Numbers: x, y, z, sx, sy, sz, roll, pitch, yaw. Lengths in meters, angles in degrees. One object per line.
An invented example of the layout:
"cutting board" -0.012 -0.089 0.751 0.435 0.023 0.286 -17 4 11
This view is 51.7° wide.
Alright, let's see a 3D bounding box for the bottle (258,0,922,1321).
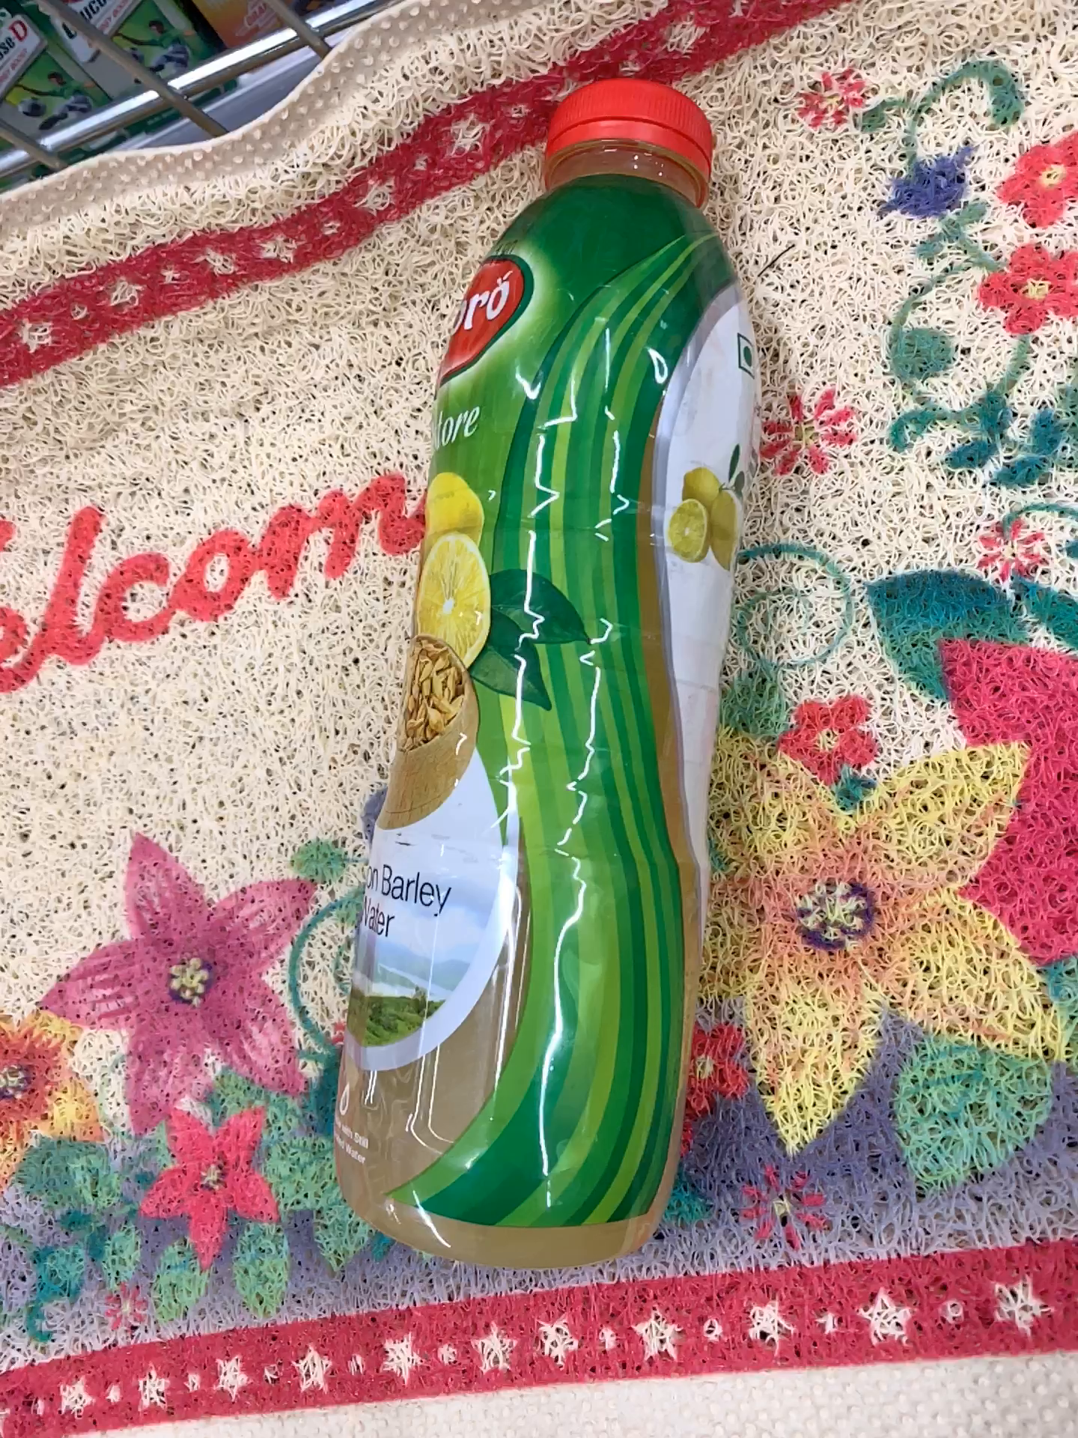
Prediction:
"bottle" 0.013 -0.025 0.257 0.080 0.090 0.270 0 81 54
